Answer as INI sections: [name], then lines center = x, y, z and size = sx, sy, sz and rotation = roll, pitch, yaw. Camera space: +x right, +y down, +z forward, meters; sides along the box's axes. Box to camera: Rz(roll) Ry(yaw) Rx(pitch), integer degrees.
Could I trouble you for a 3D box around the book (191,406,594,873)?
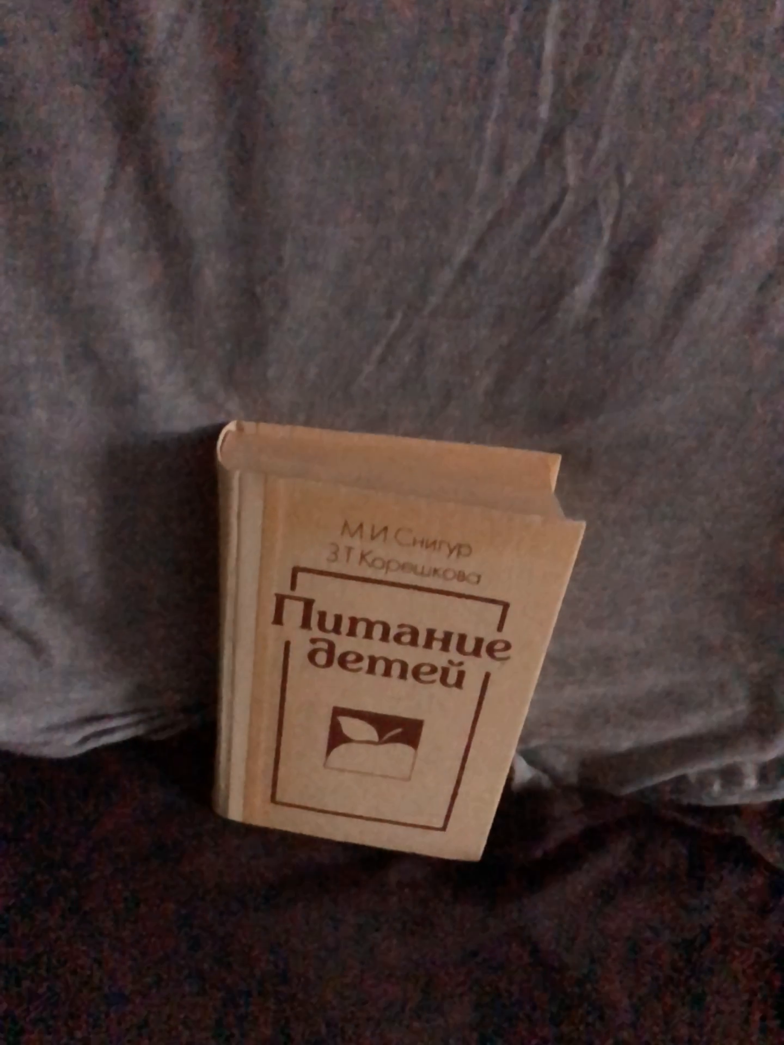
[book]
center = -0.009, 0.065, 0.387
size = 0.144, 0.220, 0.041
rotation = 8, 36, 2
